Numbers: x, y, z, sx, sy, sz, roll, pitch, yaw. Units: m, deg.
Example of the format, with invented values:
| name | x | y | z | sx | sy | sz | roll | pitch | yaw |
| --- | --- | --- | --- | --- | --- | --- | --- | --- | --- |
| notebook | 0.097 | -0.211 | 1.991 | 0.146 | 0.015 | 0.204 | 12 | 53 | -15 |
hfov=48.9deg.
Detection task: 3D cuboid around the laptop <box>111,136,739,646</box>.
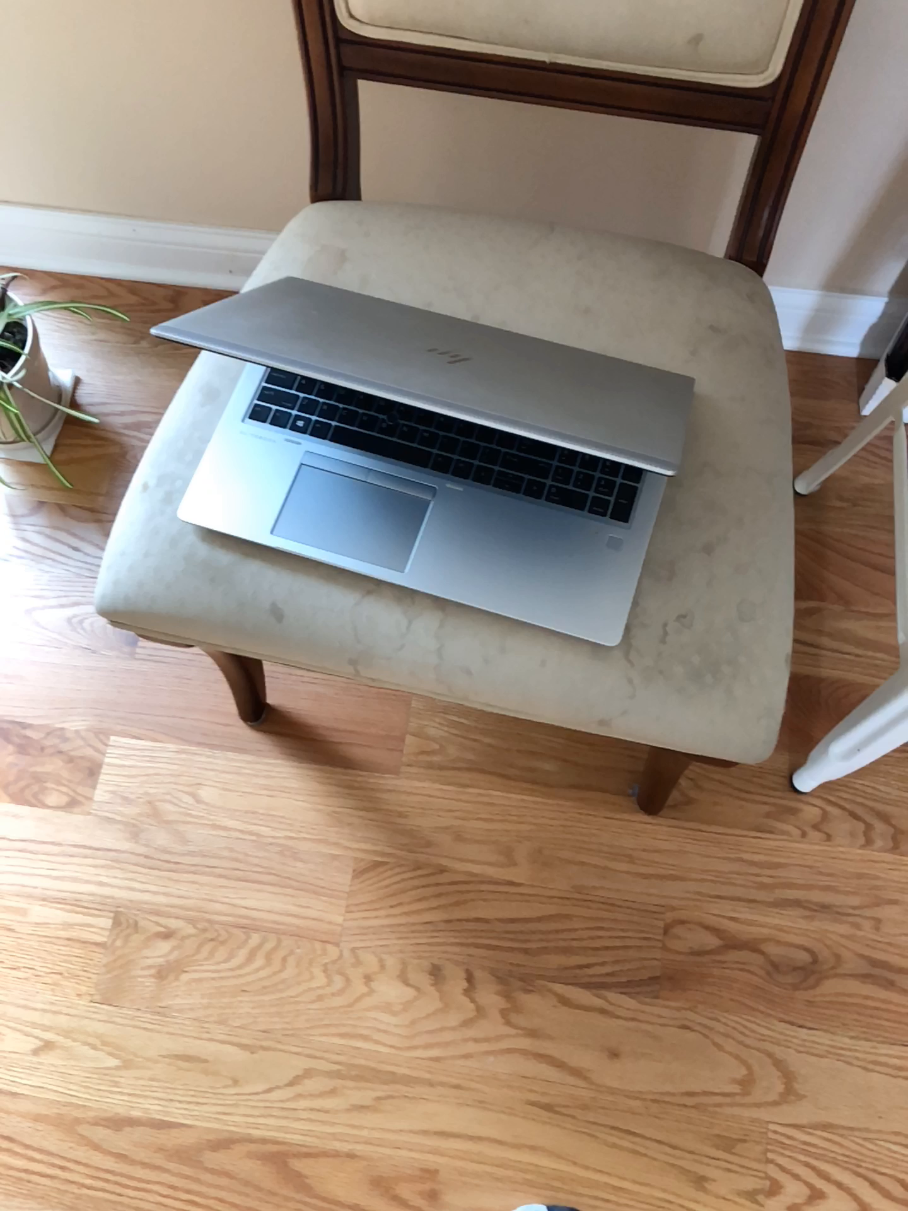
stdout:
| name | x | y | z | sx | sy | sz | roll | pitch | yaw |
| --- | --- | --- | --- | --- | --- | --- | --- | --- | --- |
| laptop | -0.013 | -0.158 | 0.746 | 0.365 | 0.159 | 0.244 | 16 | 70 | 8 |
